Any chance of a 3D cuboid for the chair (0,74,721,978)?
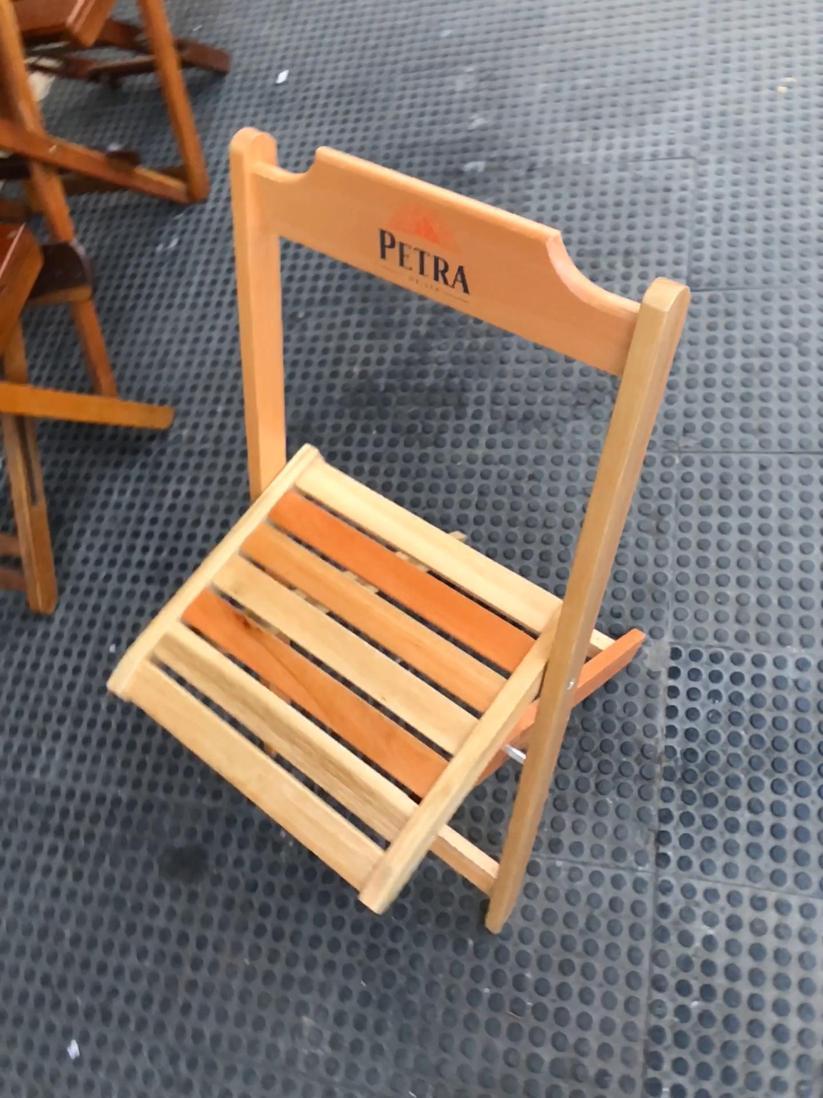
[{"bbox_3d":[-0.043,0.059,0.941,0.482,0.757,0.501,30,76,27],"label":"chair"}]
